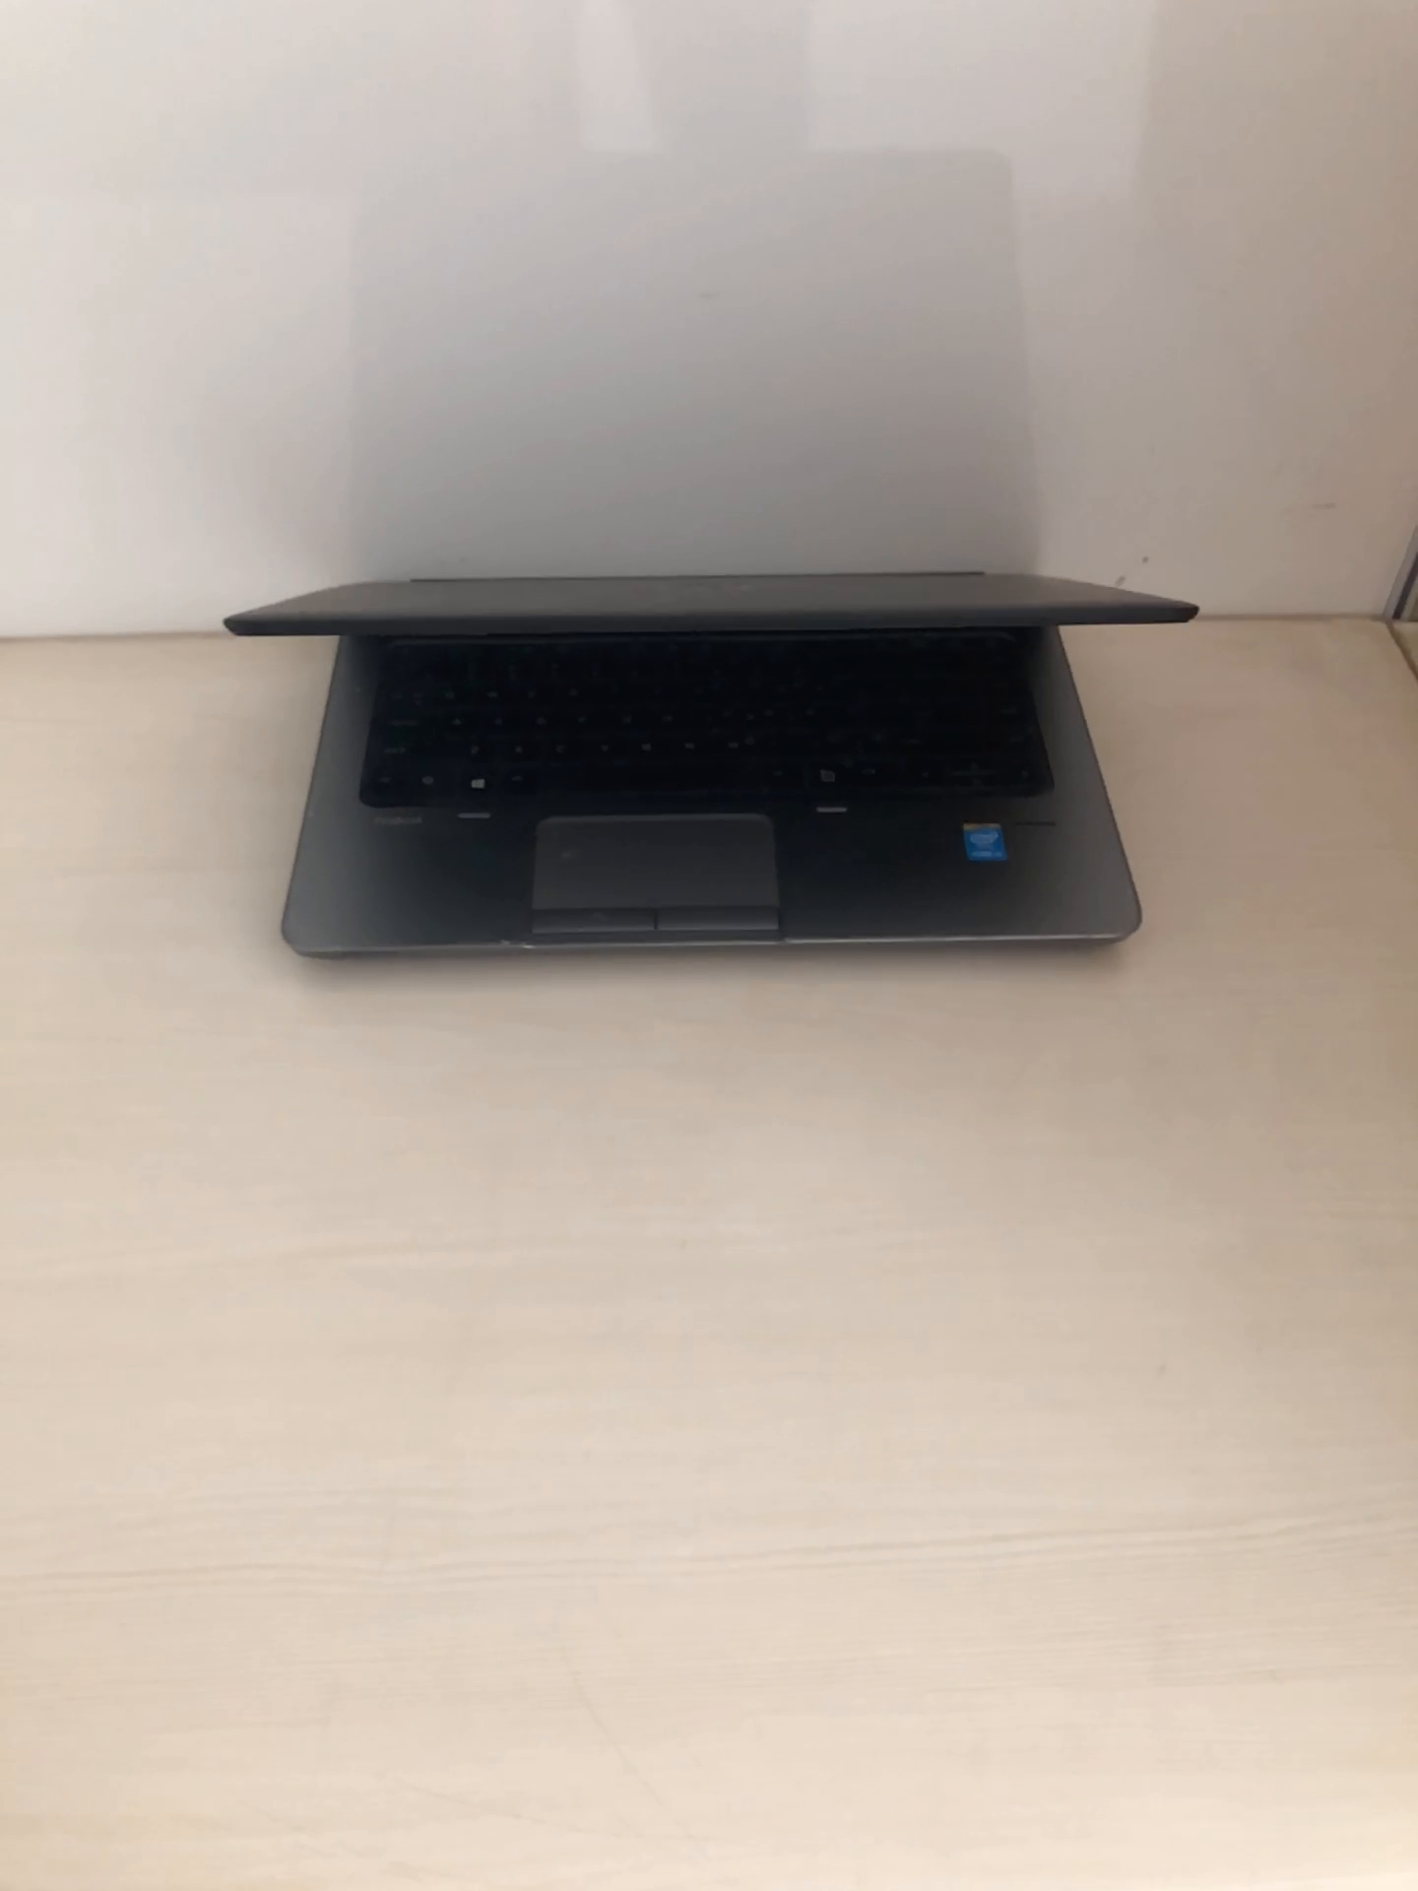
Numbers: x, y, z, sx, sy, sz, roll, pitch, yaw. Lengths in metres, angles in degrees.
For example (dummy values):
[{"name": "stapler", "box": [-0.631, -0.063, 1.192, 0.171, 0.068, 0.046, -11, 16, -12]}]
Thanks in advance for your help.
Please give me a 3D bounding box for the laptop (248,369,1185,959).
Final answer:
[{"name": "laptop", "box": [0.001, -0.124, 0.649, 0.319, 0.118, 0.221, -2, 48, -2]}]
